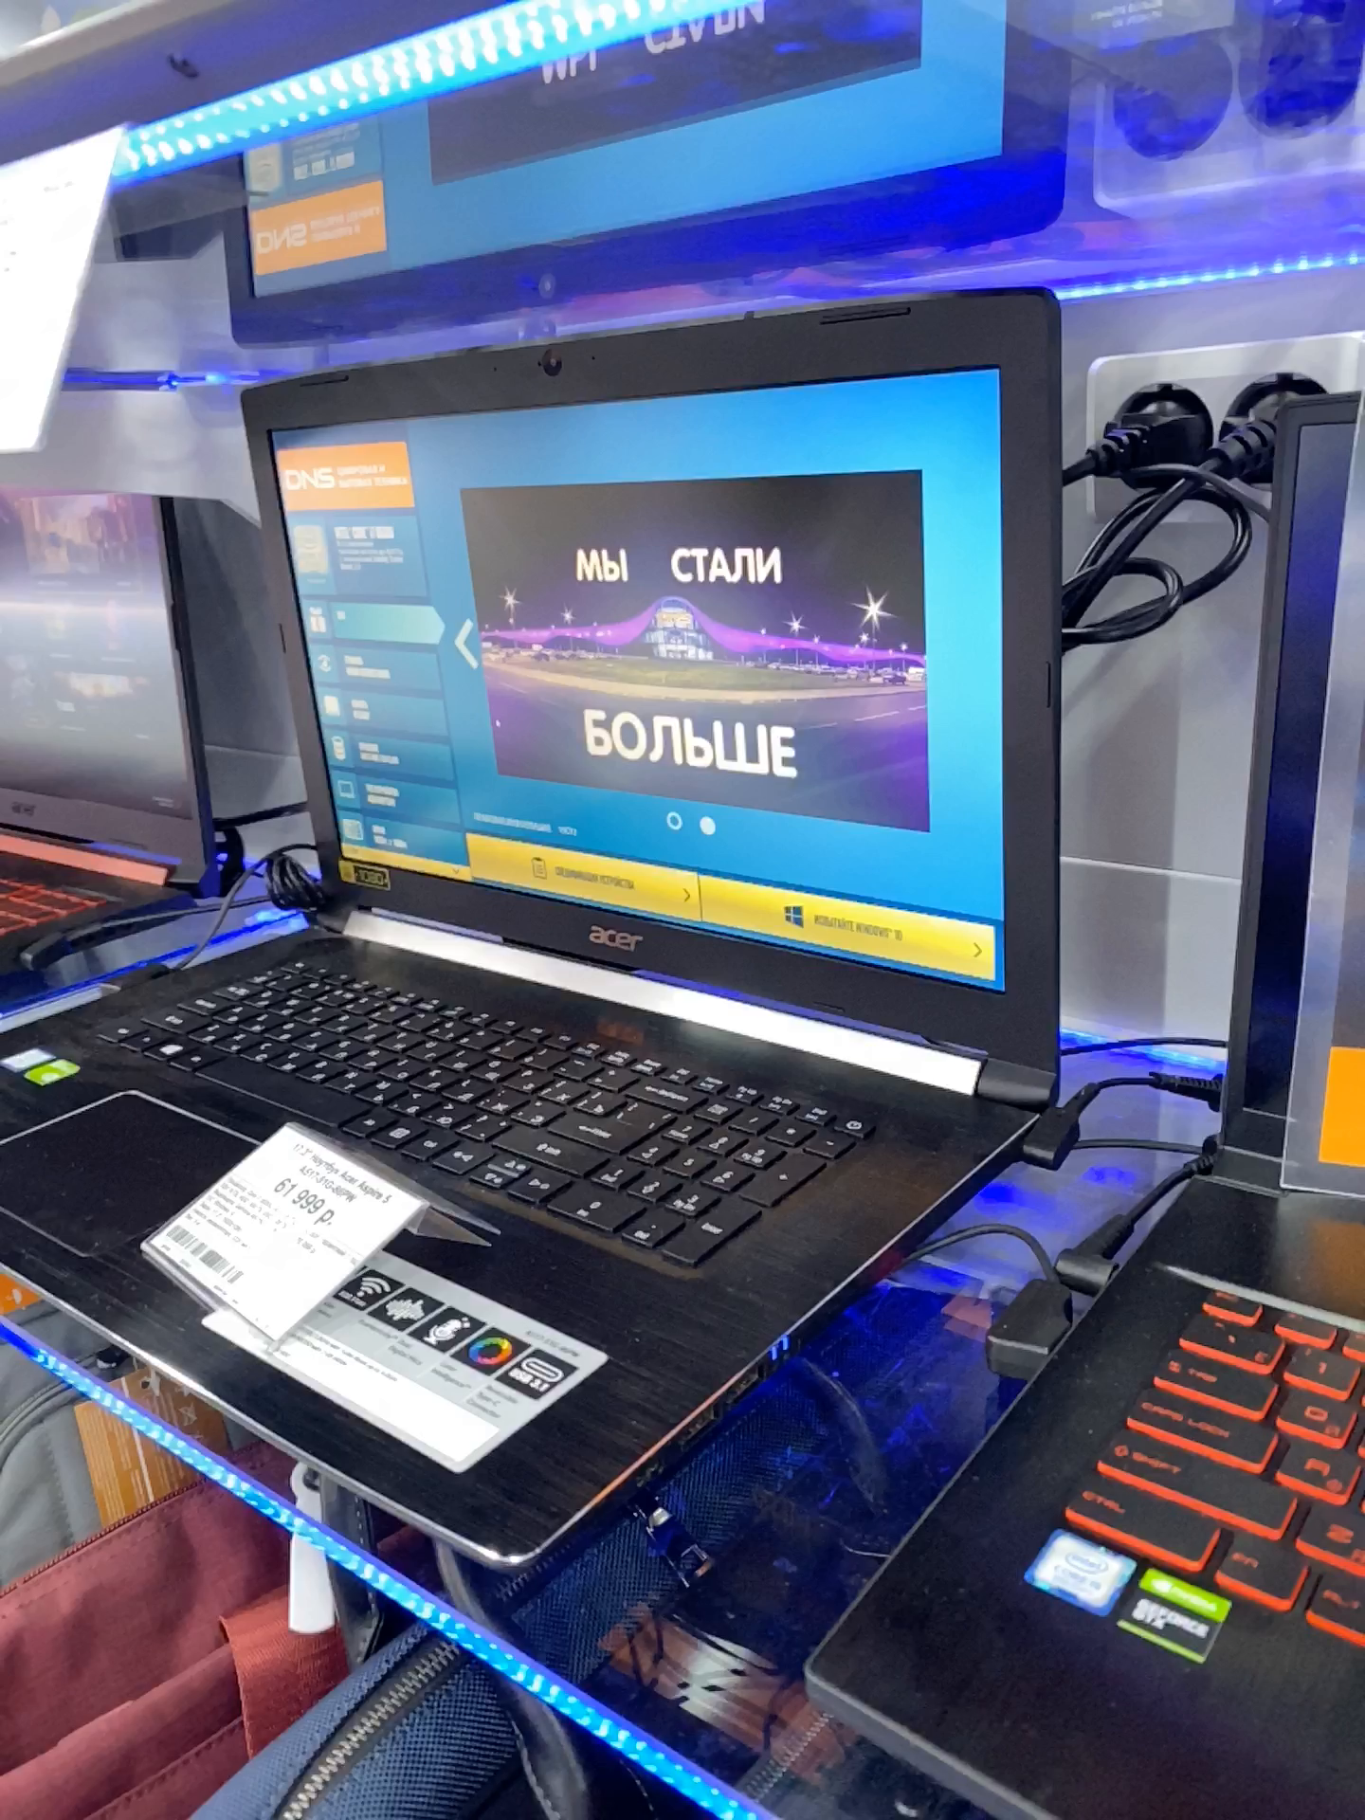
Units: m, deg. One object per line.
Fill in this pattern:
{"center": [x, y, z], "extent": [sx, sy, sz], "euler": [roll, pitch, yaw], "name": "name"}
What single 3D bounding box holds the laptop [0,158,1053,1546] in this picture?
{"center": [-0.127, -0.056, 0.500], "extent": [0.422, 0.277, 0.272], "euler": [10, 21, 38], "name": "laptop"}
